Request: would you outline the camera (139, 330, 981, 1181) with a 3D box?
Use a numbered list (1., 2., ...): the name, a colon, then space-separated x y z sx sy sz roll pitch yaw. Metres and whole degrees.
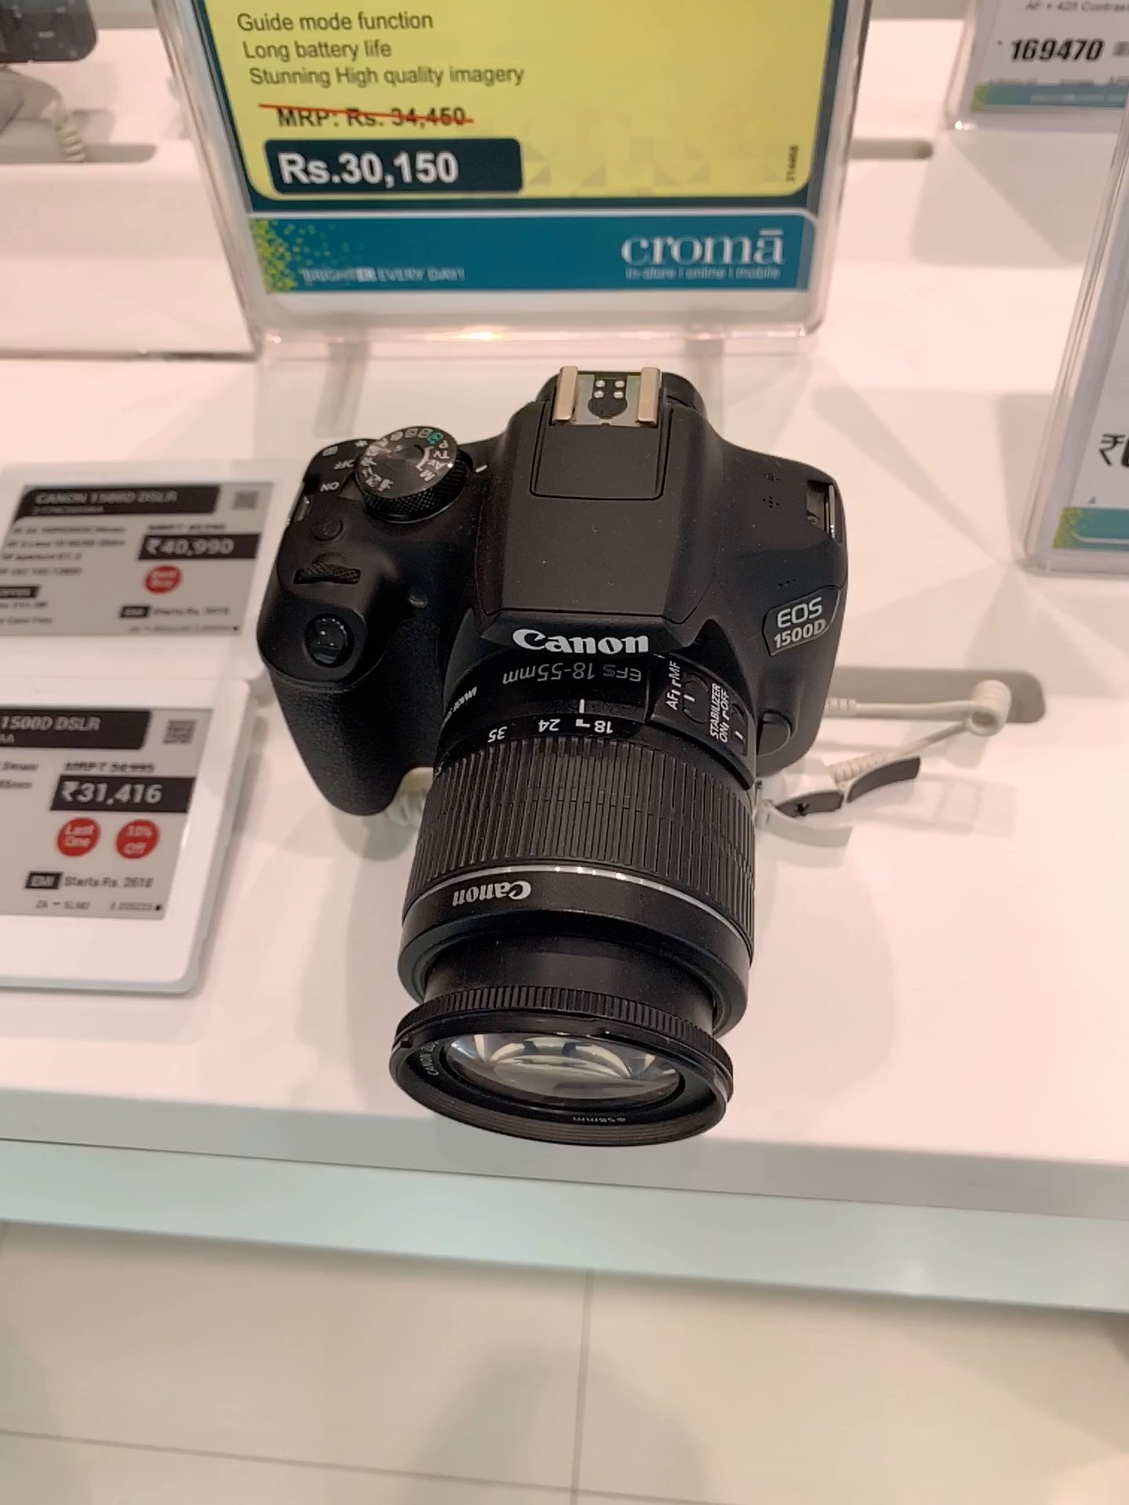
1. camera: 0.006 -0.002 0.227 0.110 0.090 0.130 3 54 5
